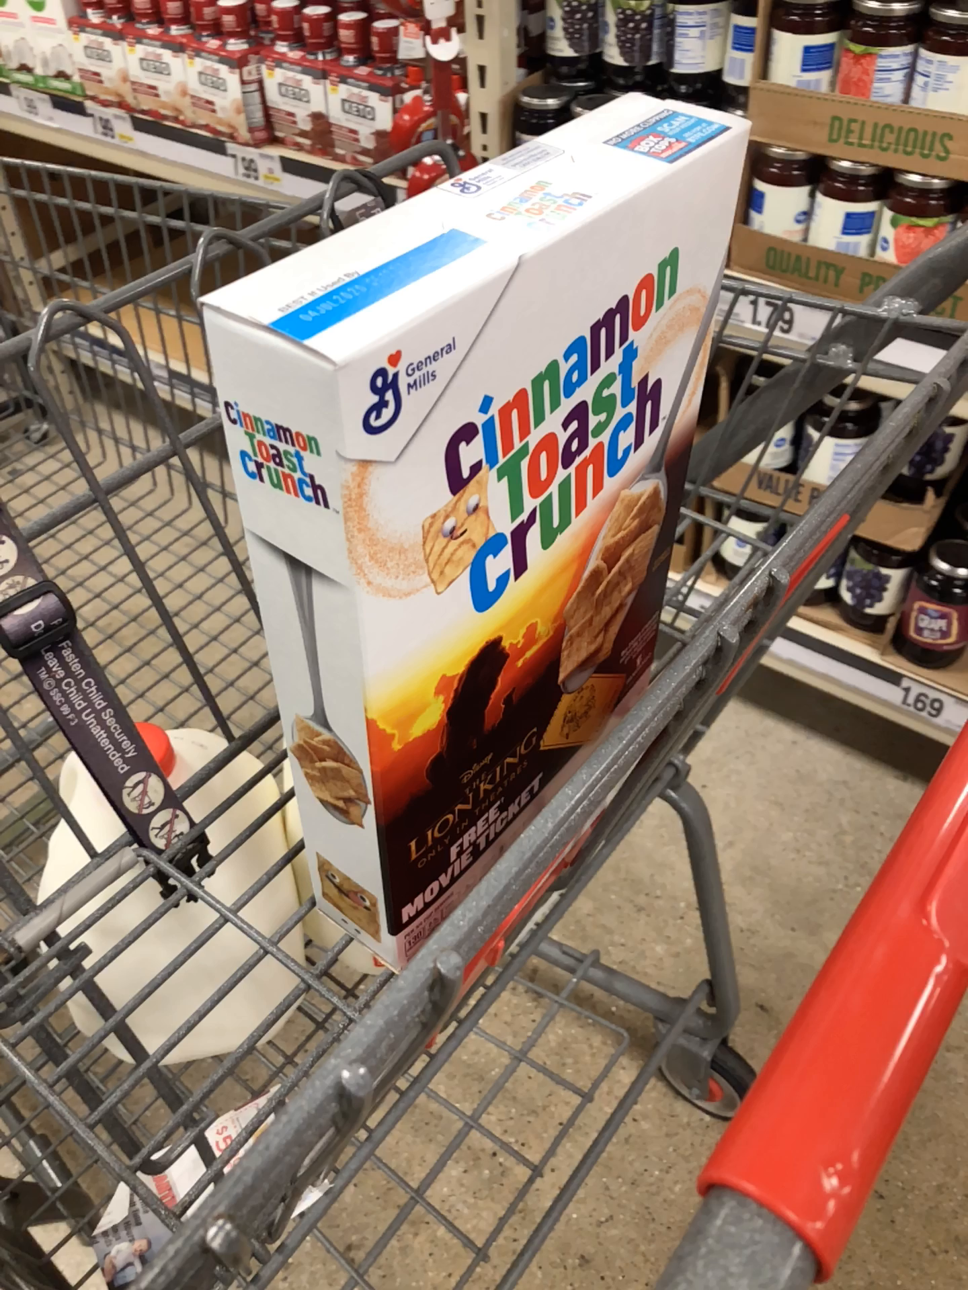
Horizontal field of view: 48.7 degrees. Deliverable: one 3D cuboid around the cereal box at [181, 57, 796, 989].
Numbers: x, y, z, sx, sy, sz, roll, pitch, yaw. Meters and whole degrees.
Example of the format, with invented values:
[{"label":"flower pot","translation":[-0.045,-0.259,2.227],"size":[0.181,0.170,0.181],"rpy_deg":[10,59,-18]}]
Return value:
[{"label":"cereal box","translation":[0.011,-0.027,0.414],"size":[0.050,0.309,0.210],"rpy_deg":[32,54,25]}]
